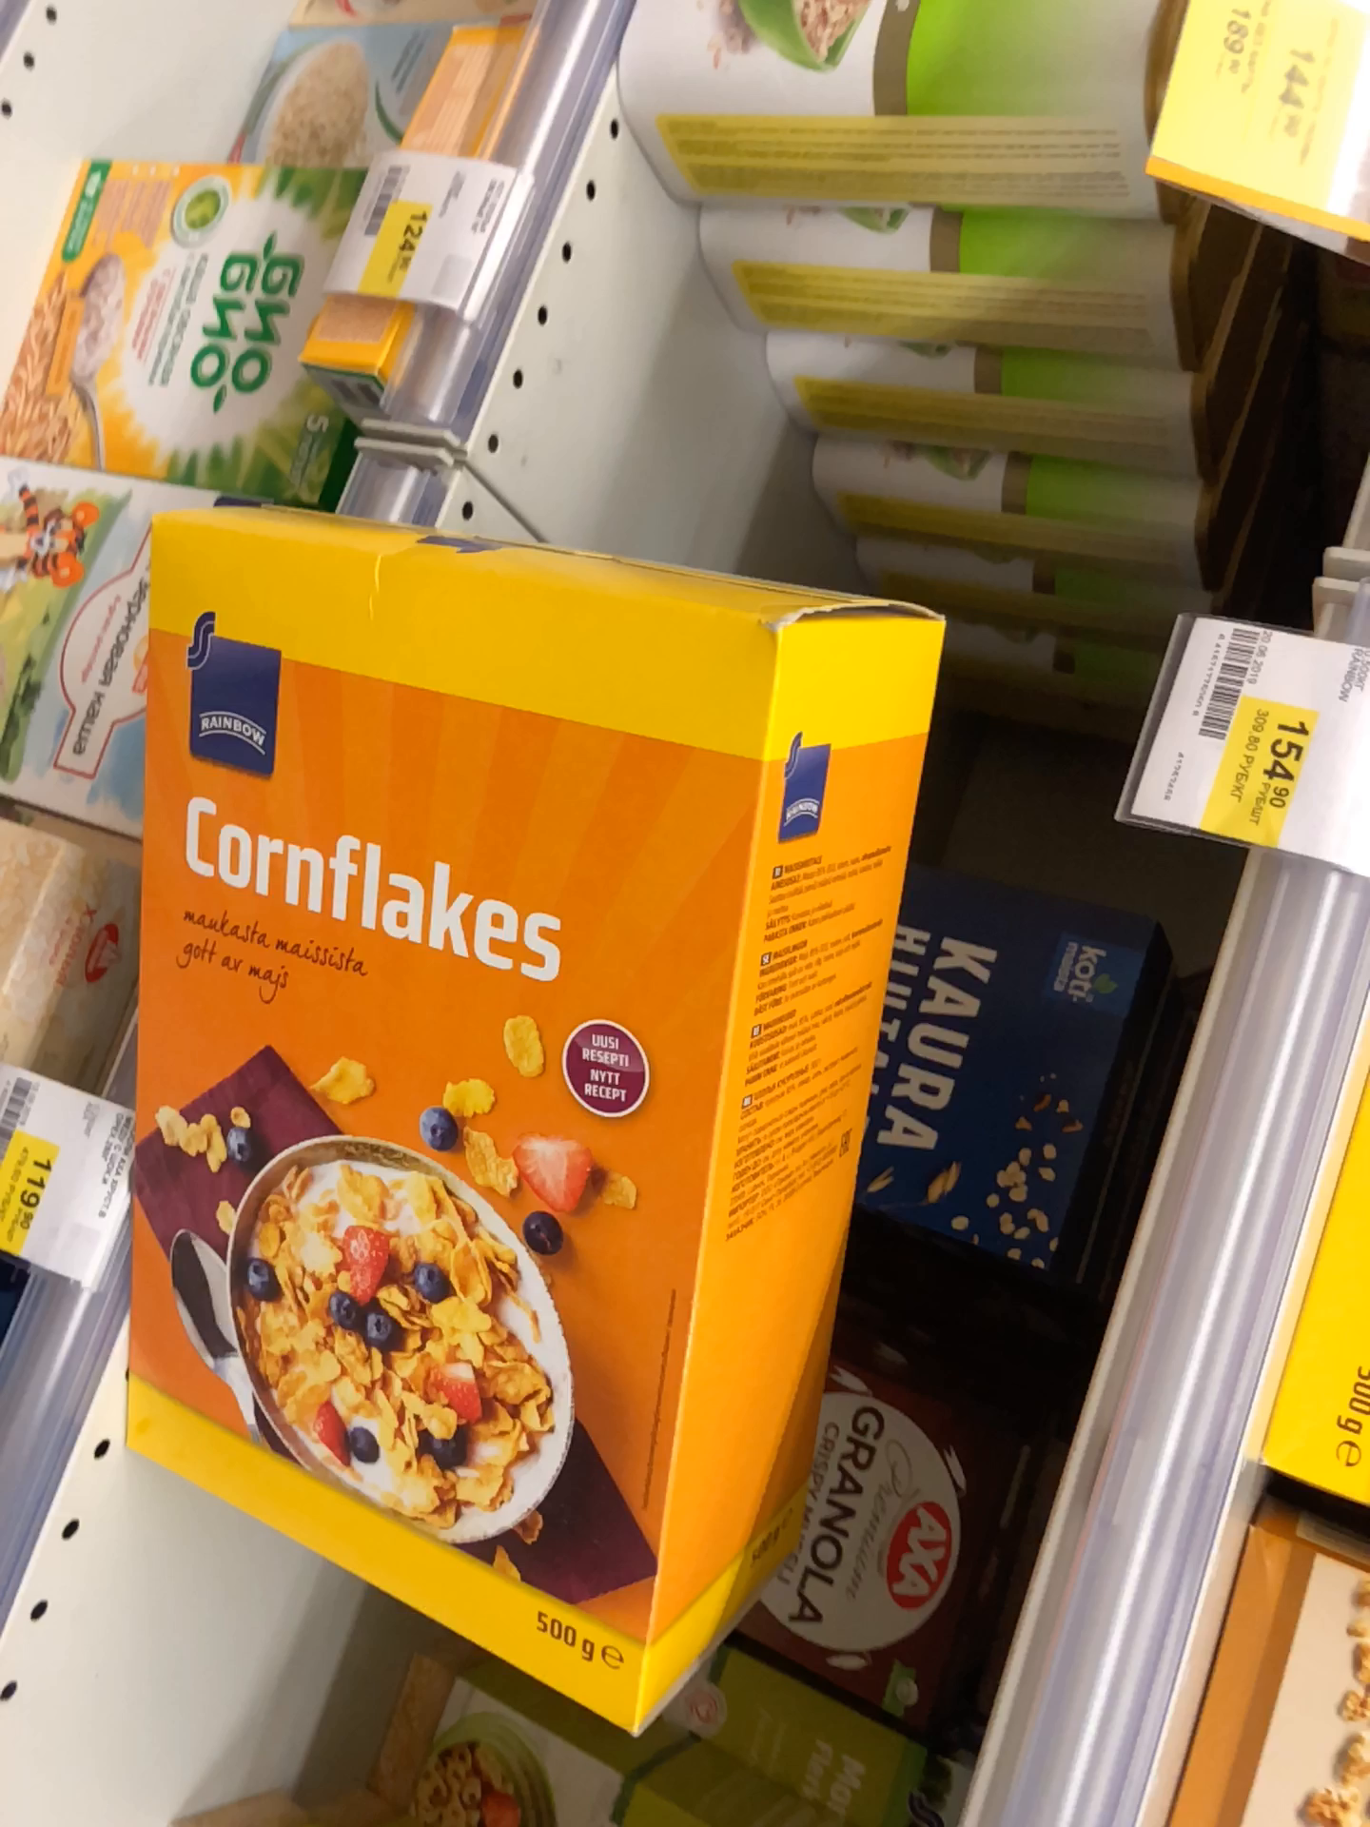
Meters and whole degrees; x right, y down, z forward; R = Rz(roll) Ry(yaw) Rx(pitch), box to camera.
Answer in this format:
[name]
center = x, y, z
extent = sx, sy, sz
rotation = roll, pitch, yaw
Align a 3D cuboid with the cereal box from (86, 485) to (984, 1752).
[cereal box]
center = -0.053, 0.040, 0.441
extent = 0.121, 0.199, 0.290
rotation = -19, 121, -59
